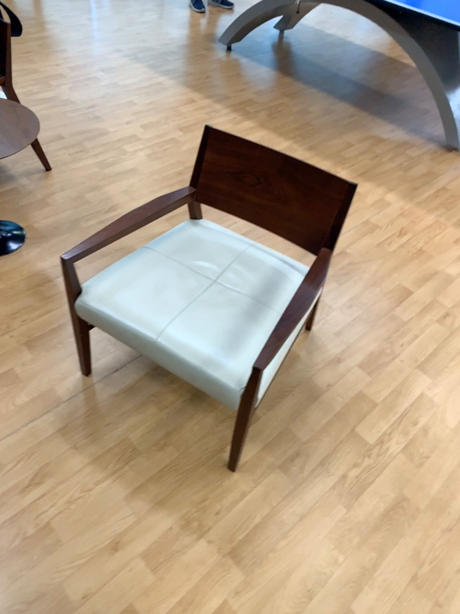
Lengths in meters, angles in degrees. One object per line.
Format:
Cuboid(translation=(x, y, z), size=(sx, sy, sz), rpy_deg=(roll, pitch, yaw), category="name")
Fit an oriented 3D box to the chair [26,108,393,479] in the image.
Cuboid(translation=(-0.039, -0.082, 1.451), size=(0.671, 0.635, 0.714), rpy_deg=(28, 49, 18), category="chair")
